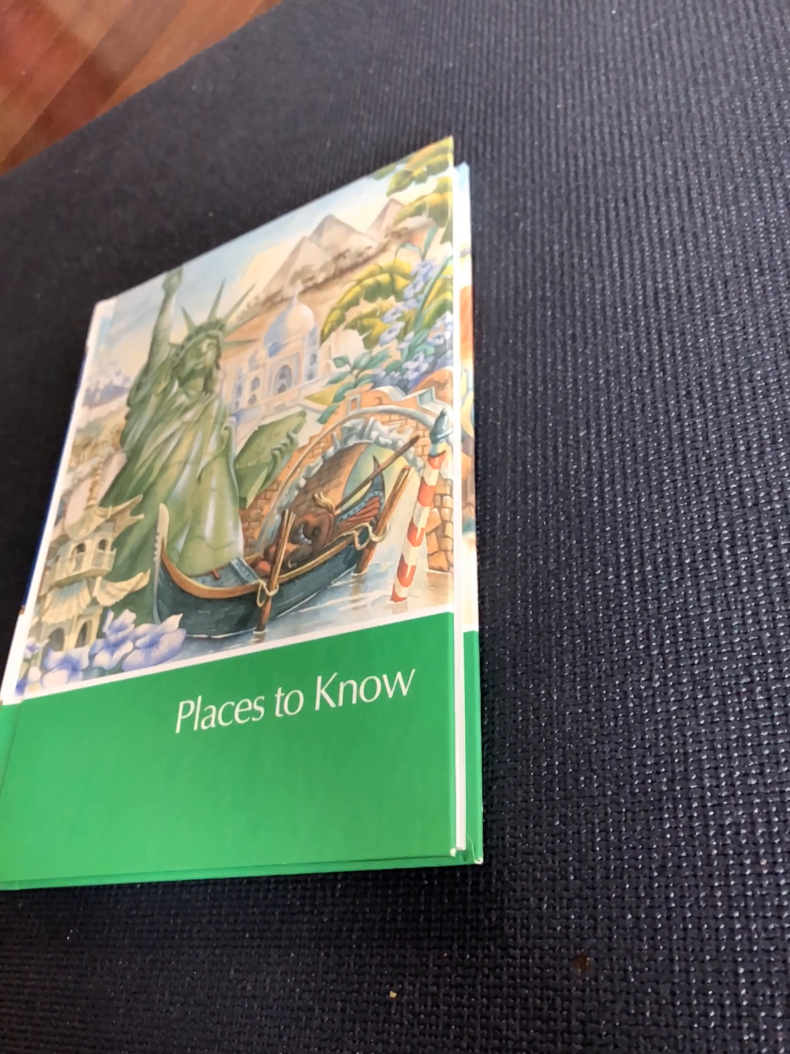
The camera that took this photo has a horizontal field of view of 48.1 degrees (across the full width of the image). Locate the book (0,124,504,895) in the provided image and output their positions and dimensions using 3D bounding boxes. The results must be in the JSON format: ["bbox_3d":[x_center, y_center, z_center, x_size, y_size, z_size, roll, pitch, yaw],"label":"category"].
[{"bbox_3d":[-0.059,-0.010,0.312,0.190,0.030,0.250,-14,57,26],"label":"book"}]
